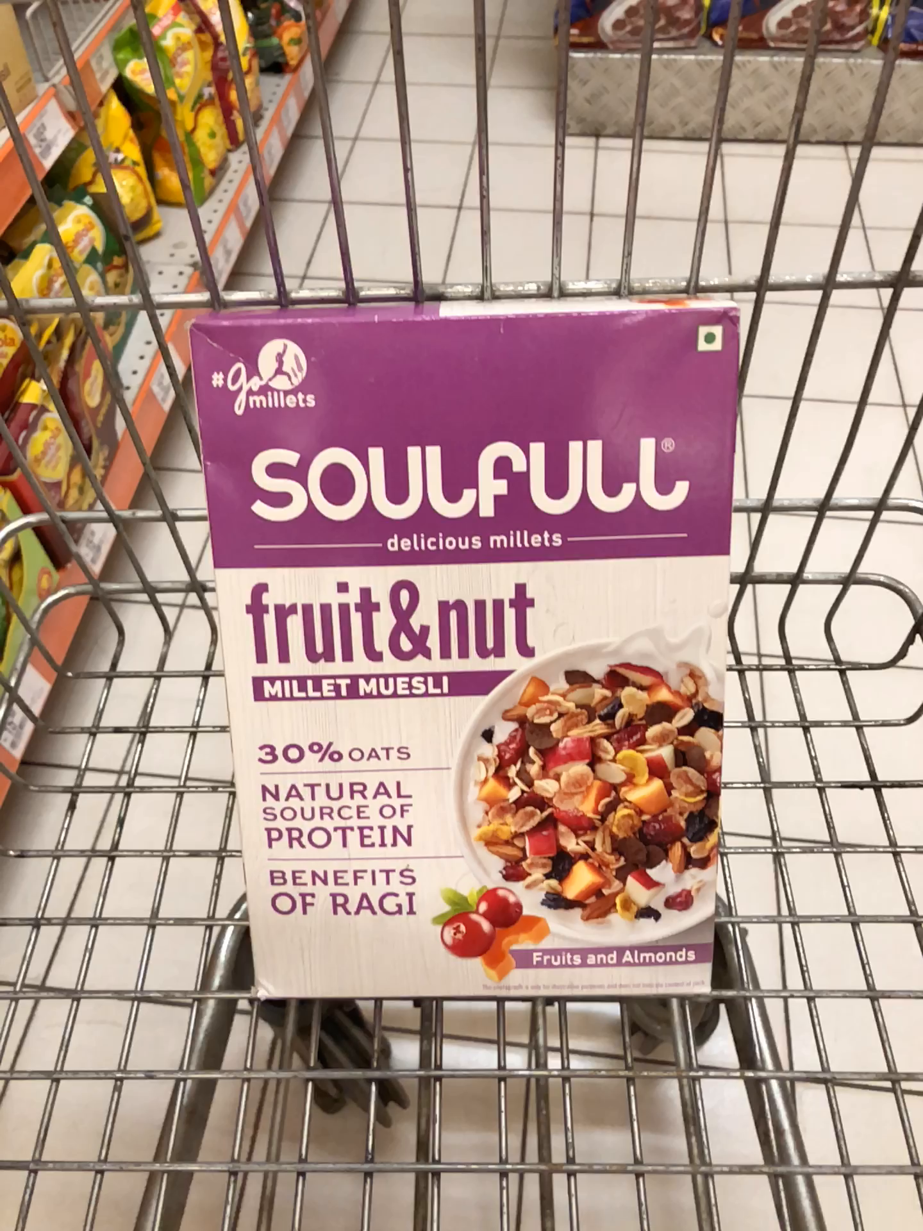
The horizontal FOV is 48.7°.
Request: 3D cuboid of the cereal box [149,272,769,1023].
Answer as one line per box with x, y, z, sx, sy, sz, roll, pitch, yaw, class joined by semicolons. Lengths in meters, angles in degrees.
0.002;0.012;0.347;0.170;0.239;0.070;-1;17;1;cereal box
